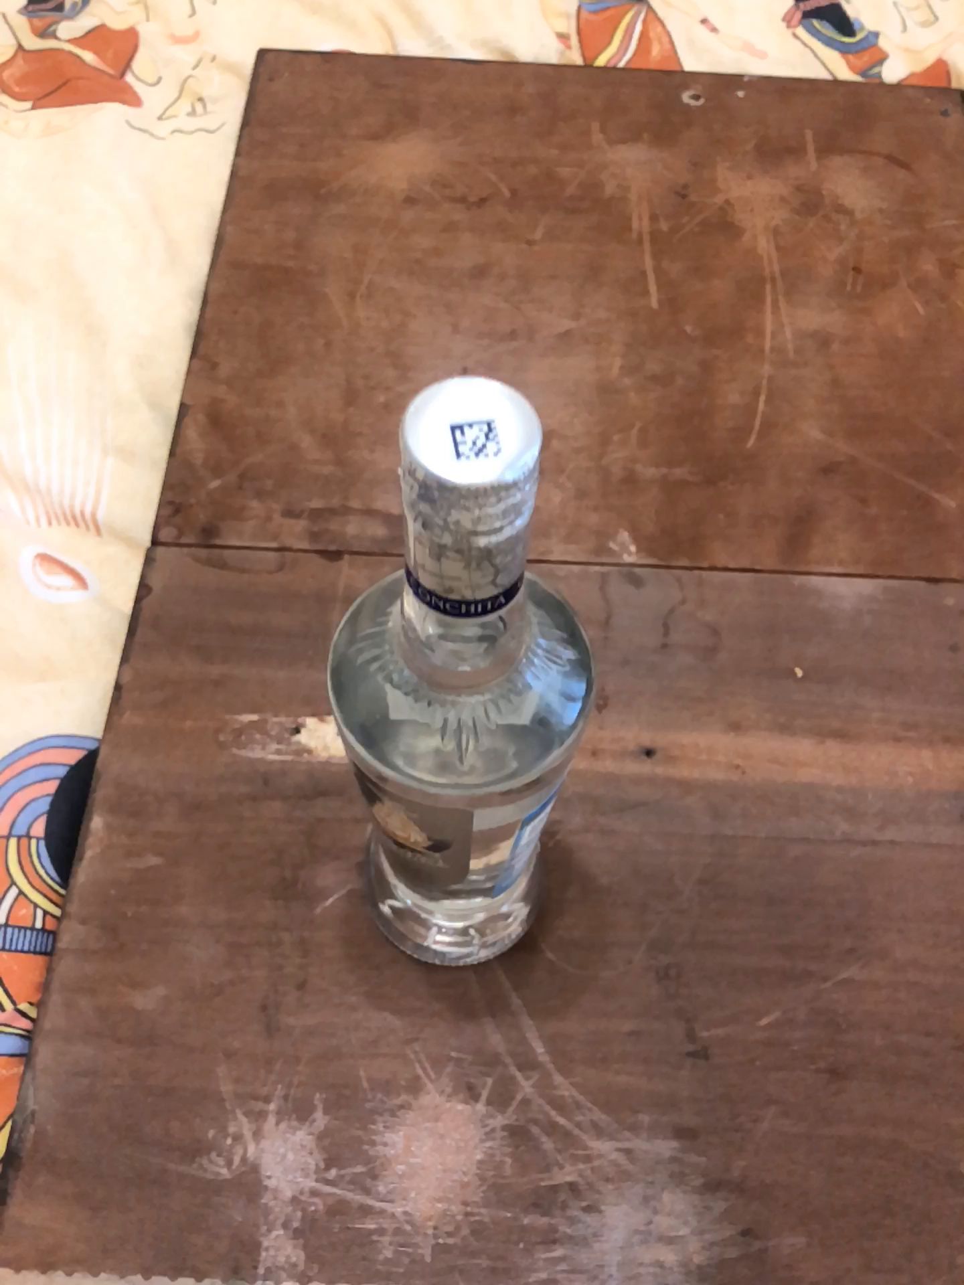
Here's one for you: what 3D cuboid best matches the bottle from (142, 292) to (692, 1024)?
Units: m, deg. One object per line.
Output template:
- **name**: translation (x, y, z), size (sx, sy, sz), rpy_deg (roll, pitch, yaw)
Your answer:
- **bottle**: translation (-0.014, 0.037, 0.325), size (0.075, 0.273, 0.077), rpy_deg (0, 61, 0)
